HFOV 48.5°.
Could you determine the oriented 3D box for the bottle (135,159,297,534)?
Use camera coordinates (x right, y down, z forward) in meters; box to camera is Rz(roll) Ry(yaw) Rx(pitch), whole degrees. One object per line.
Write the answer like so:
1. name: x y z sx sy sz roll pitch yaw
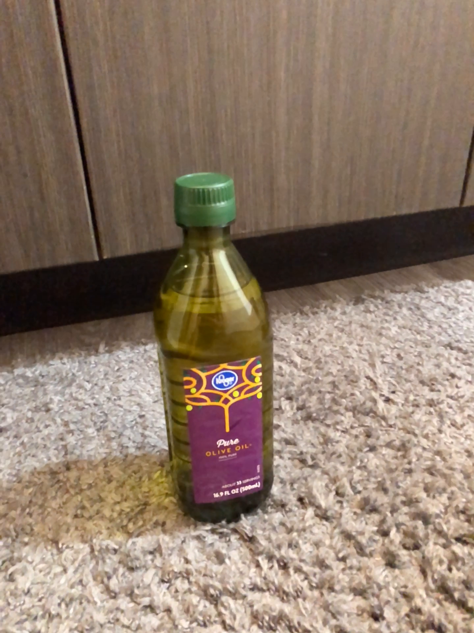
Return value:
1. bottle: -0.010 0.025 0.303 0.070 0.209 0.060 -6 30 -7
